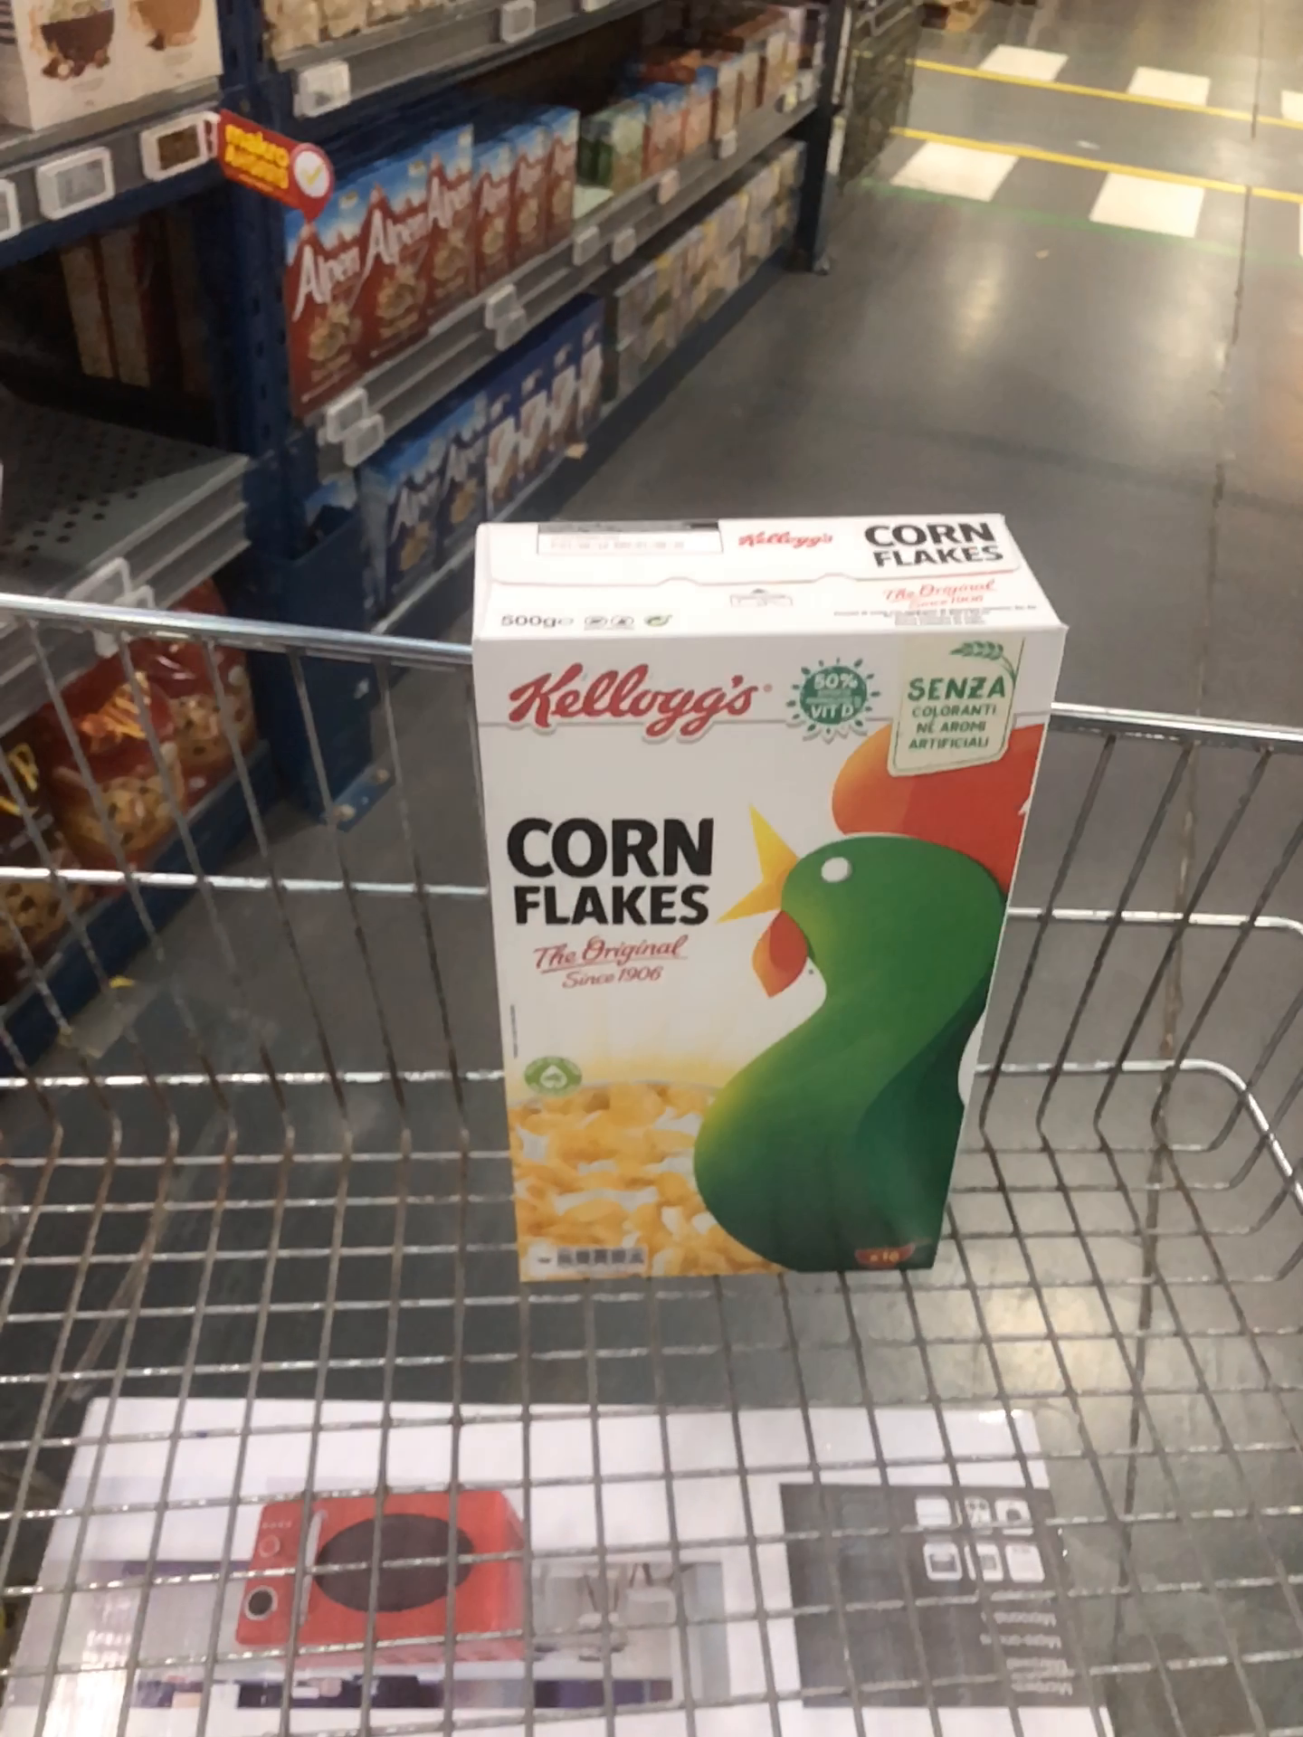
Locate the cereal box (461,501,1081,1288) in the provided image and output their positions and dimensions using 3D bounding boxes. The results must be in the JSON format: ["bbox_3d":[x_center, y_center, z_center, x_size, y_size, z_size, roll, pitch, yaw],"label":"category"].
[{"bbox_3d":[0.032,0.027,0.579,0.190,0.328,0.090,-2,39,-3],"label":"cereal box"}]
